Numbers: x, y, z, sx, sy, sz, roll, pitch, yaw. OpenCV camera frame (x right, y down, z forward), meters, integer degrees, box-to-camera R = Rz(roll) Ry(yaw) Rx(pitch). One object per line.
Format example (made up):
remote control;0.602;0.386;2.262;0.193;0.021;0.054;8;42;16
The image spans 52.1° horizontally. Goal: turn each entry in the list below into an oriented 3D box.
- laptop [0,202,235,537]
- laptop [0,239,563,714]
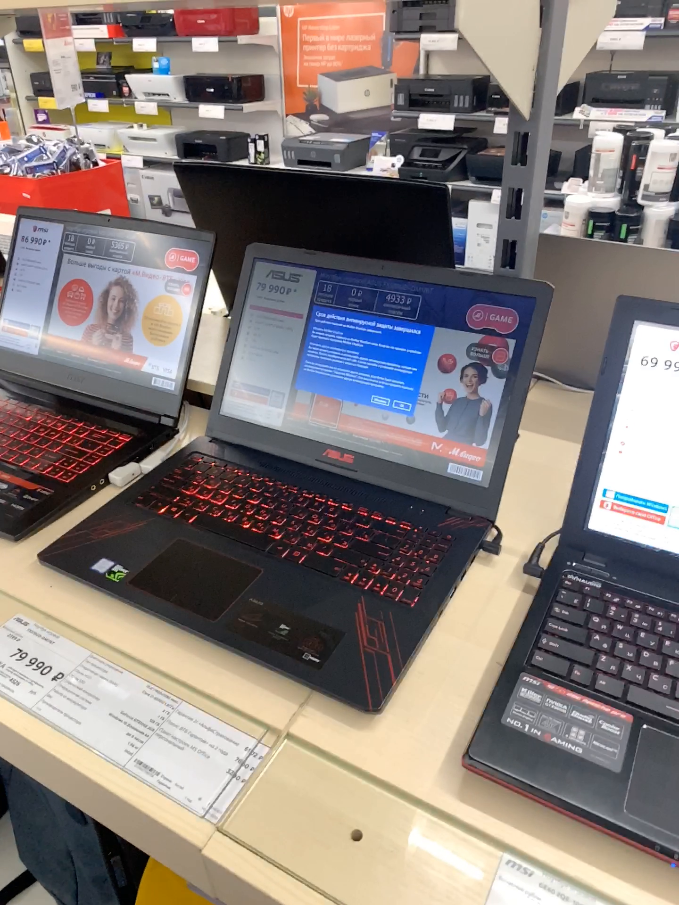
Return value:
laptop;-0.383;-0.133;0.828;0.339;0.209;0.354;16;37;25
laptop;-0.037;-0.035;0.664;0.365;0.199;0.384;15;37;27
